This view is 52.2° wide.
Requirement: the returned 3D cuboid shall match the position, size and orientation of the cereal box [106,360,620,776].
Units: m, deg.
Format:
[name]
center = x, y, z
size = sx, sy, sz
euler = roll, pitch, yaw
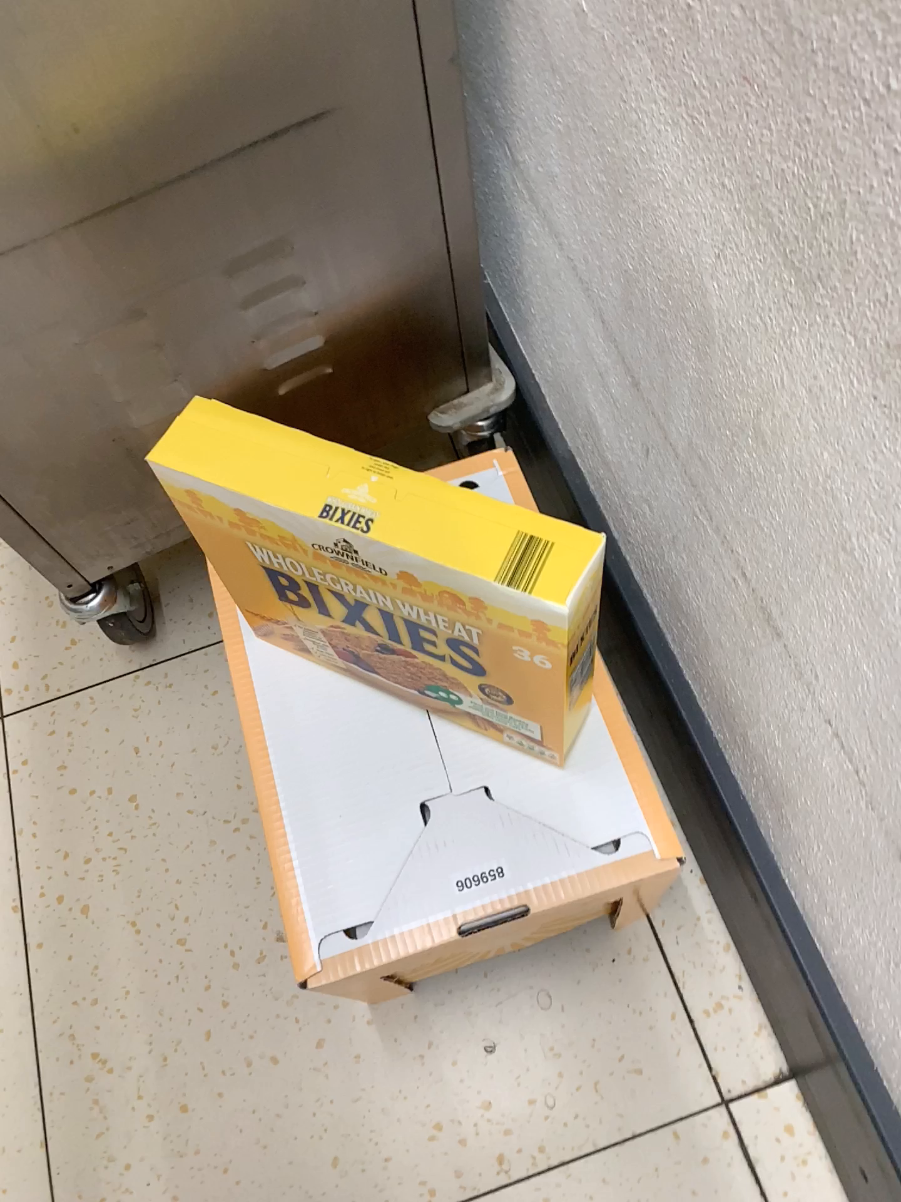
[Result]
[cereal box]
center = -0.041, -0.007, 0.632
size = 0.290, 0.279, 0.070
euler = 21, 68, 17
